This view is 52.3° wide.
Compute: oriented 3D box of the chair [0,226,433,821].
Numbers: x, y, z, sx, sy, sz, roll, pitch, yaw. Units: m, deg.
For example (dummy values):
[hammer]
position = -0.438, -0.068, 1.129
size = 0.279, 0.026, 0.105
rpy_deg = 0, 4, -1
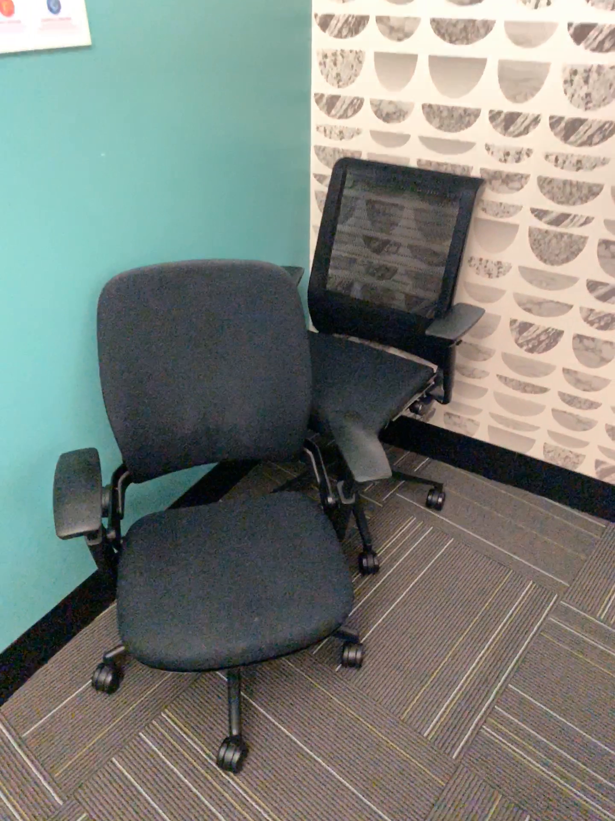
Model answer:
[chair]
position = -0.231, 0.204, 1.385
size = 0.660, 0.945, 0.775
rpy_deg = -7, 35, -10
